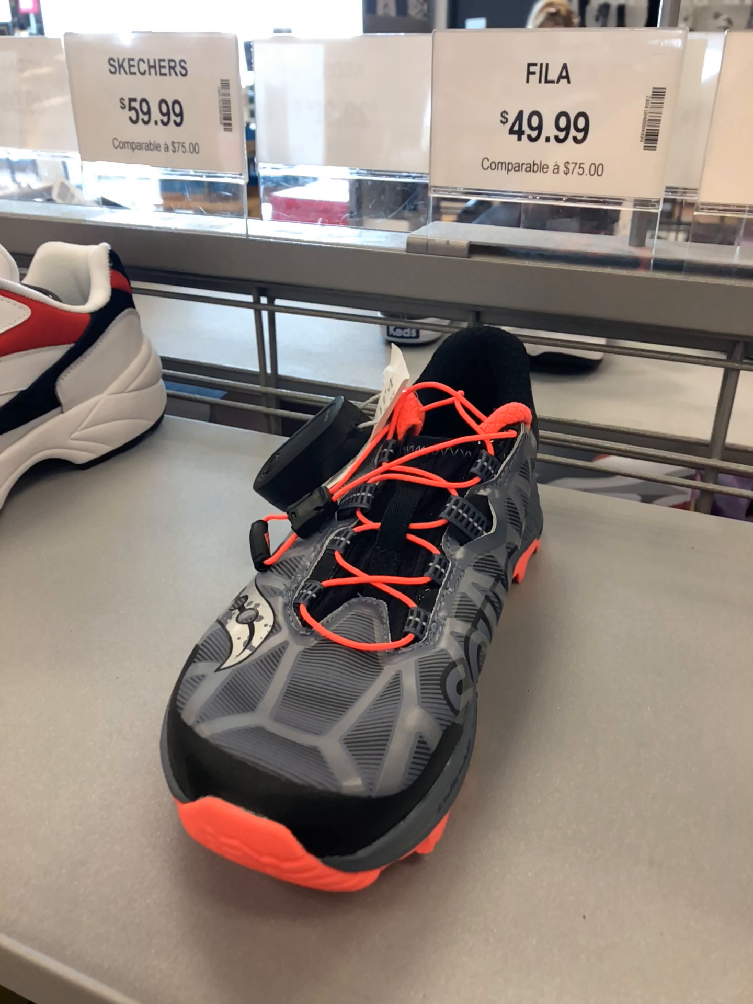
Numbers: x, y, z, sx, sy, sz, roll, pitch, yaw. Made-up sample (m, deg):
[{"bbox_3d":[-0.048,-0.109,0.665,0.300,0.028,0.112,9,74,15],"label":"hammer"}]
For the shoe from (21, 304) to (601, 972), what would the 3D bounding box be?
[{"bbox_3d":[0.010,0.012,0.349,0.110,0.109,0.292,10,30,19],"label":"shoe"}]
